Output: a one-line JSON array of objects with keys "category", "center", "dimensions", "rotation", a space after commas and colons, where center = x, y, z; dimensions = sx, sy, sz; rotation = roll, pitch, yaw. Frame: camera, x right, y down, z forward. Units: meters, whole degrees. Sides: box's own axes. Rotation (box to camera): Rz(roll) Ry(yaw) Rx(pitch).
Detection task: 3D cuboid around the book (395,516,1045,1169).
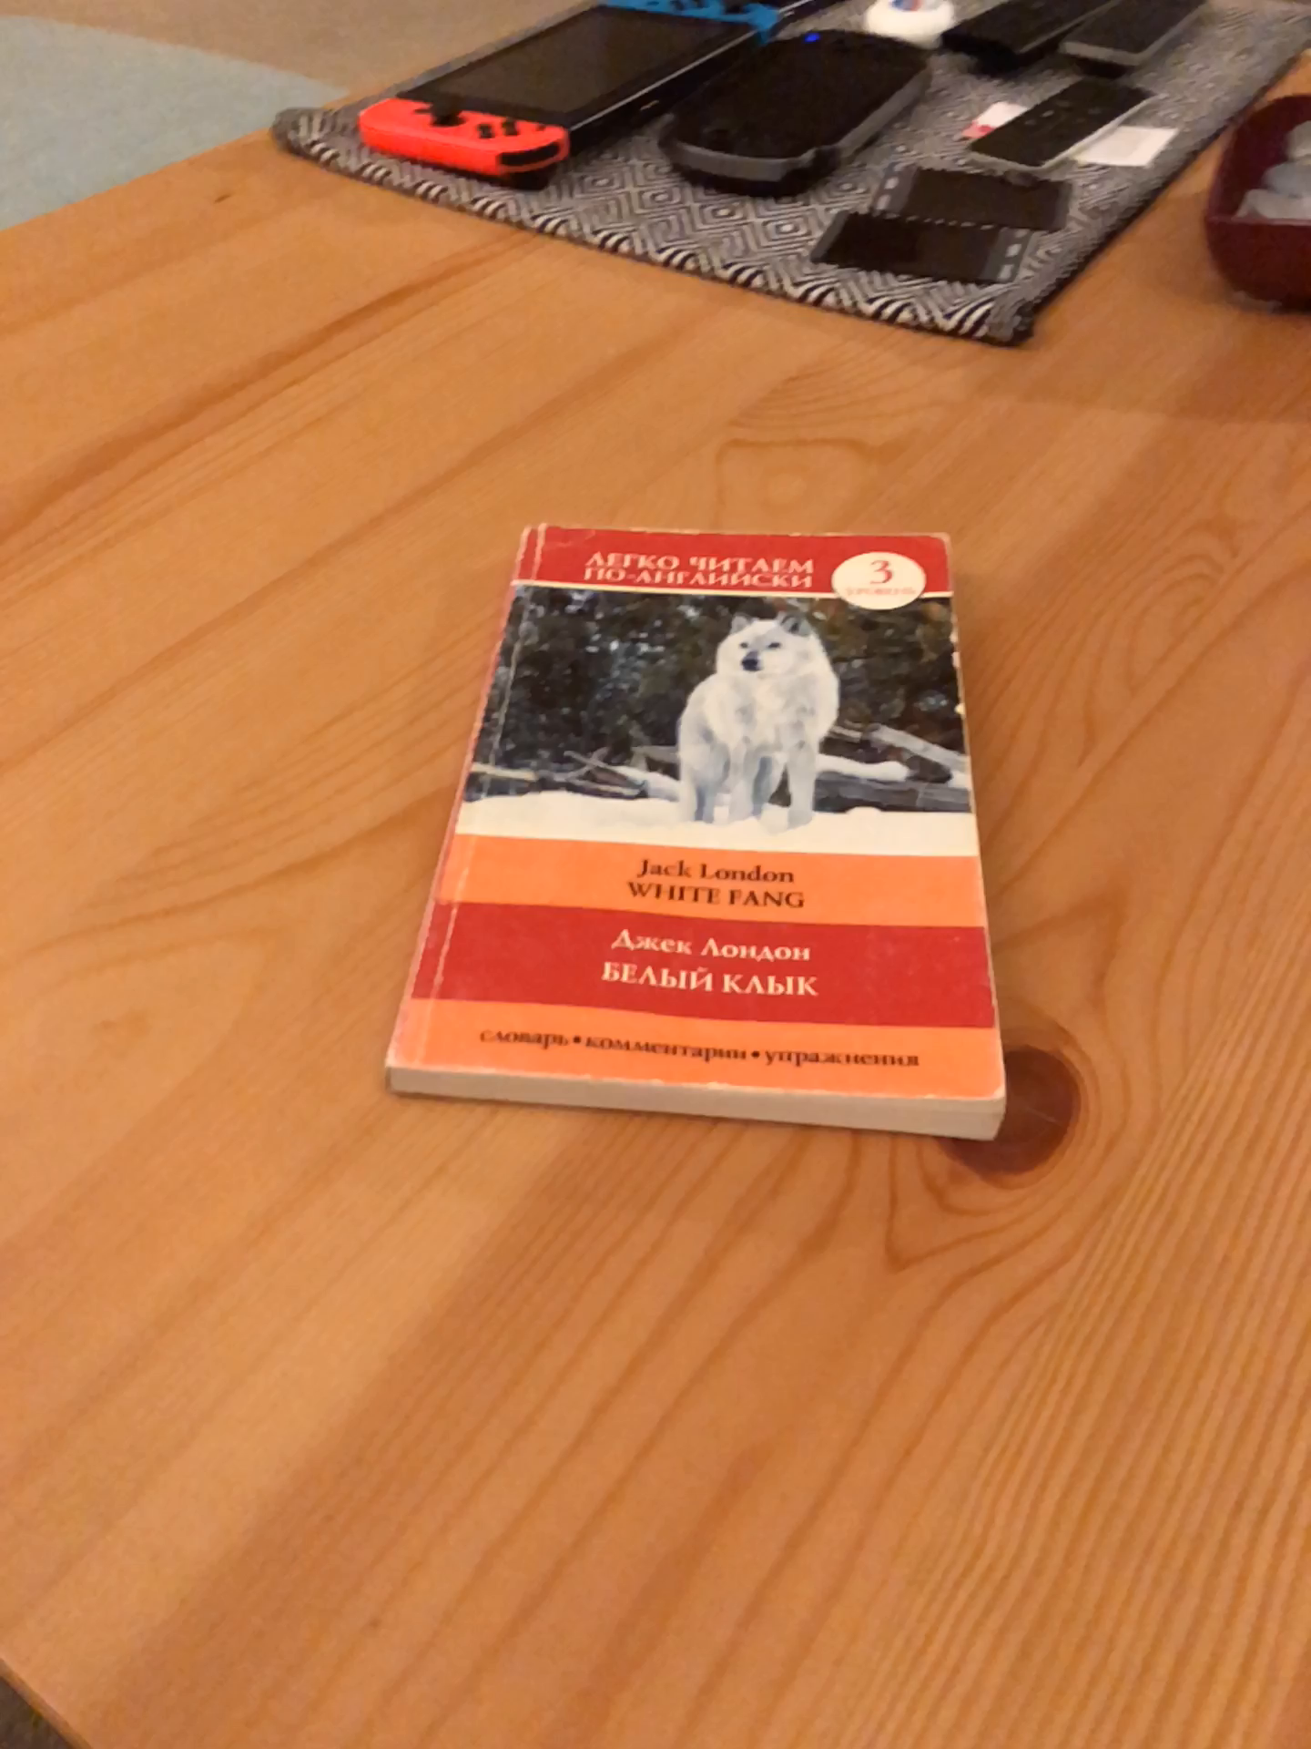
[{"category": "book", "center": [0.020, -0.023, 0.364], "dimensions": [0.129, 0.020, 0.206], "rotation": [3, 46, 3]}]
